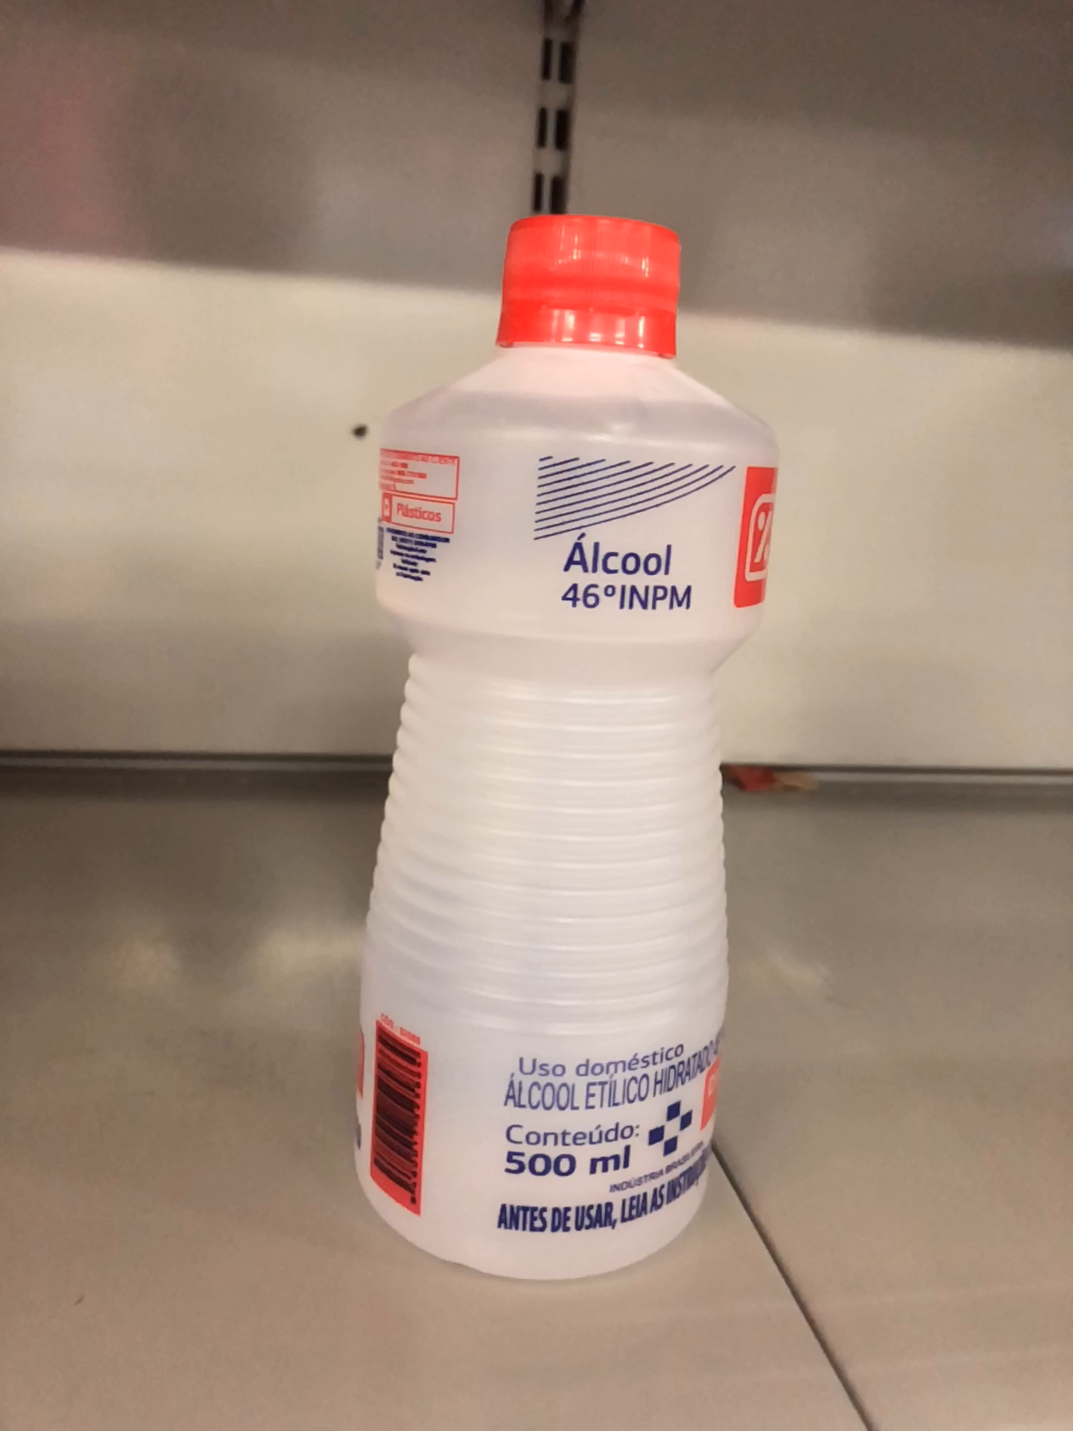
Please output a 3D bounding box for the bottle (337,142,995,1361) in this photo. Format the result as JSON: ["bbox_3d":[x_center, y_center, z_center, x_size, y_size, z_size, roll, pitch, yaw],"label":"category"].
[{"bbox_3d":[0.013,0.004,0.222,0.080,0.179,0.080,3,13,-1],"label":"bottle"}]
